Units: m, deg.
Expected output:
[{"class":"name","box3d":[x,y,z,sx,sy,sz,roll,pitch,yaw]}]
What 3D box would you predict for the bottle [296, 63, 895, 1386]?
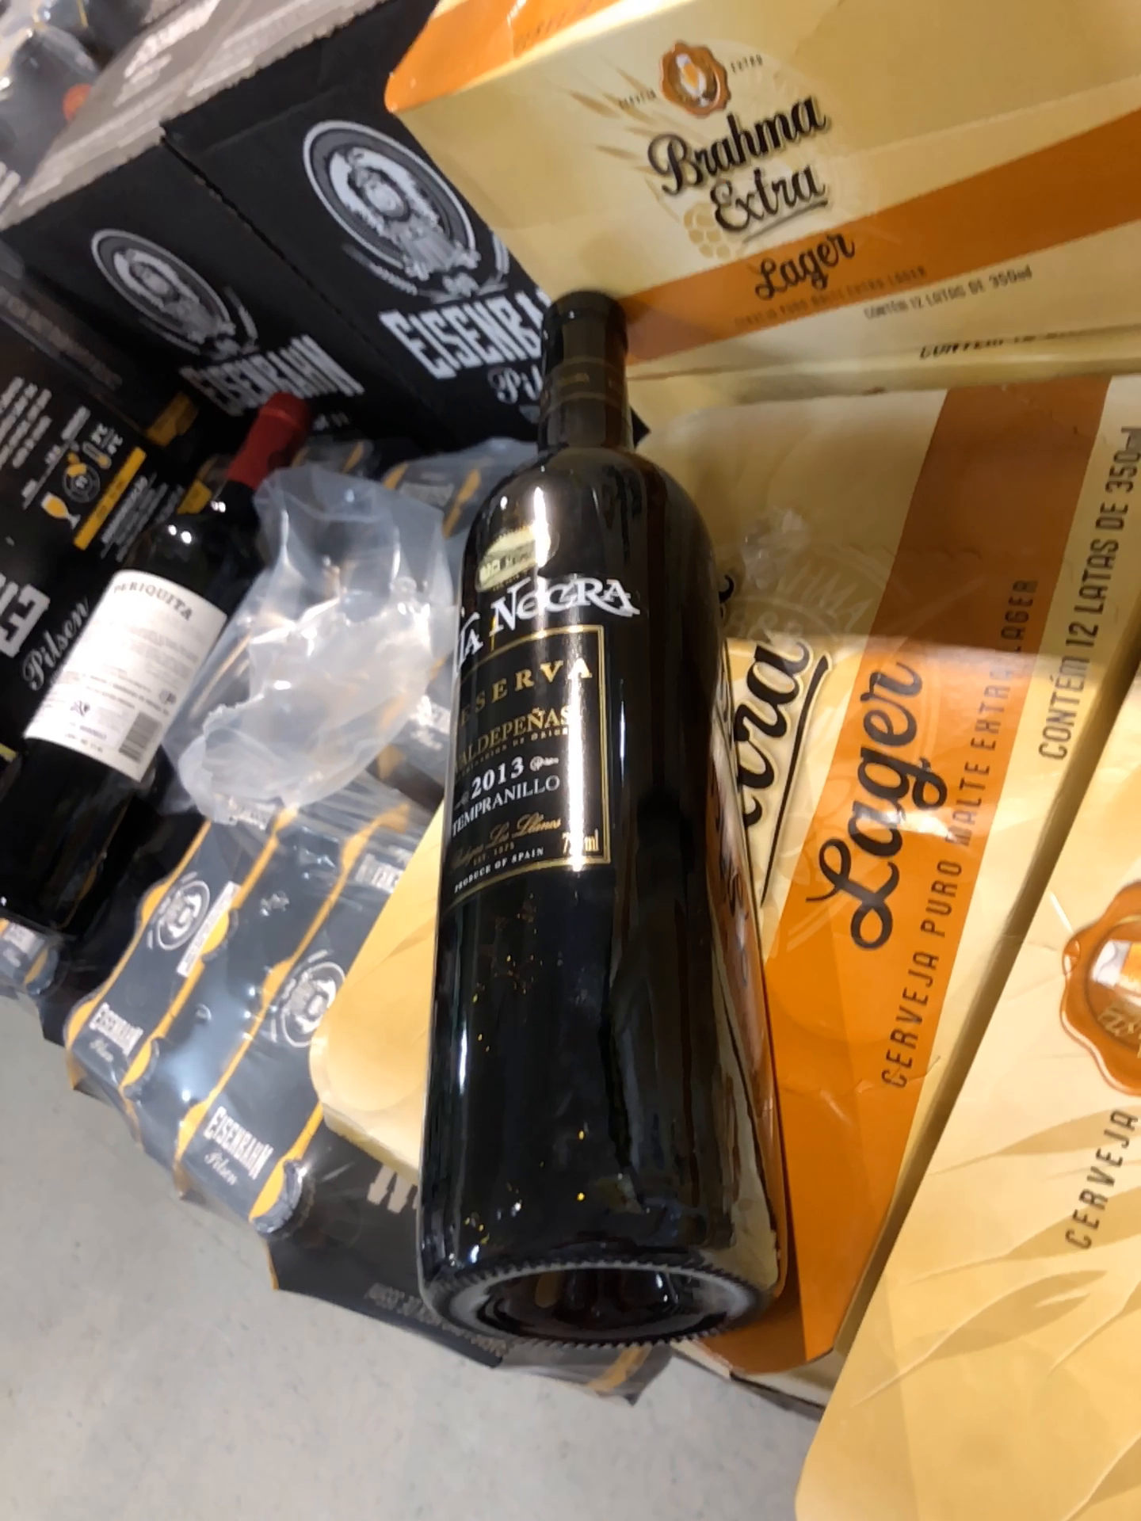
[{"class":"bottle","box3d":[0.005,-0.047,0.352,0.080,0.080,0.382,-25,47,28]}]
